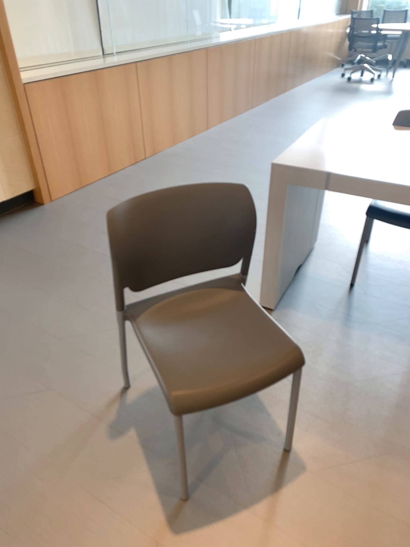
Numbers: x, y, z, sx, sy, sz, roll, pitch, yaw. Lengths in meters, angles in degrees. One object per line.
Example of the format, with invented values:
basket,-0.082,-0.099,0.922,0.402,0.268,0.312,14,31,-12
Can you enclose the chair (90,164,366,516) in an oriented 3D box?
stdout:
chair,0.022,0.169,1.288,0.501,0.783,0.574,-16,37,-21
